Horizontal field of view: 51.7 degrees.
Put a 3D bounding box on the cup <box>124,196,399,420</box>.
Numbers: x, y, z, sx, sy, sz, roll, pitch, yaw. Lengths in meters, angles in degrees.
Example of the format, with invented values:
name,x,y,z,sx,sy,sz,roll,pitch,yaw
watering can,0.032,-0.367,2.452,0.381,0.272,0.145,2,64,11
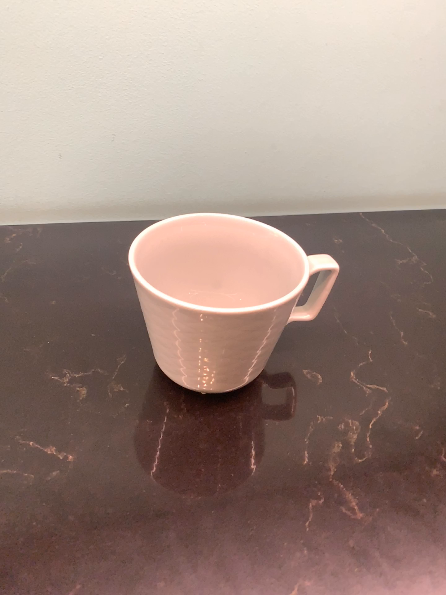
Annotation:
name,x,y,z,sx,sy,sz,roll,pitch,yaw
cup,0.011,-0.001,0.282,0.130,0.080,0.100,-5,40,-15
